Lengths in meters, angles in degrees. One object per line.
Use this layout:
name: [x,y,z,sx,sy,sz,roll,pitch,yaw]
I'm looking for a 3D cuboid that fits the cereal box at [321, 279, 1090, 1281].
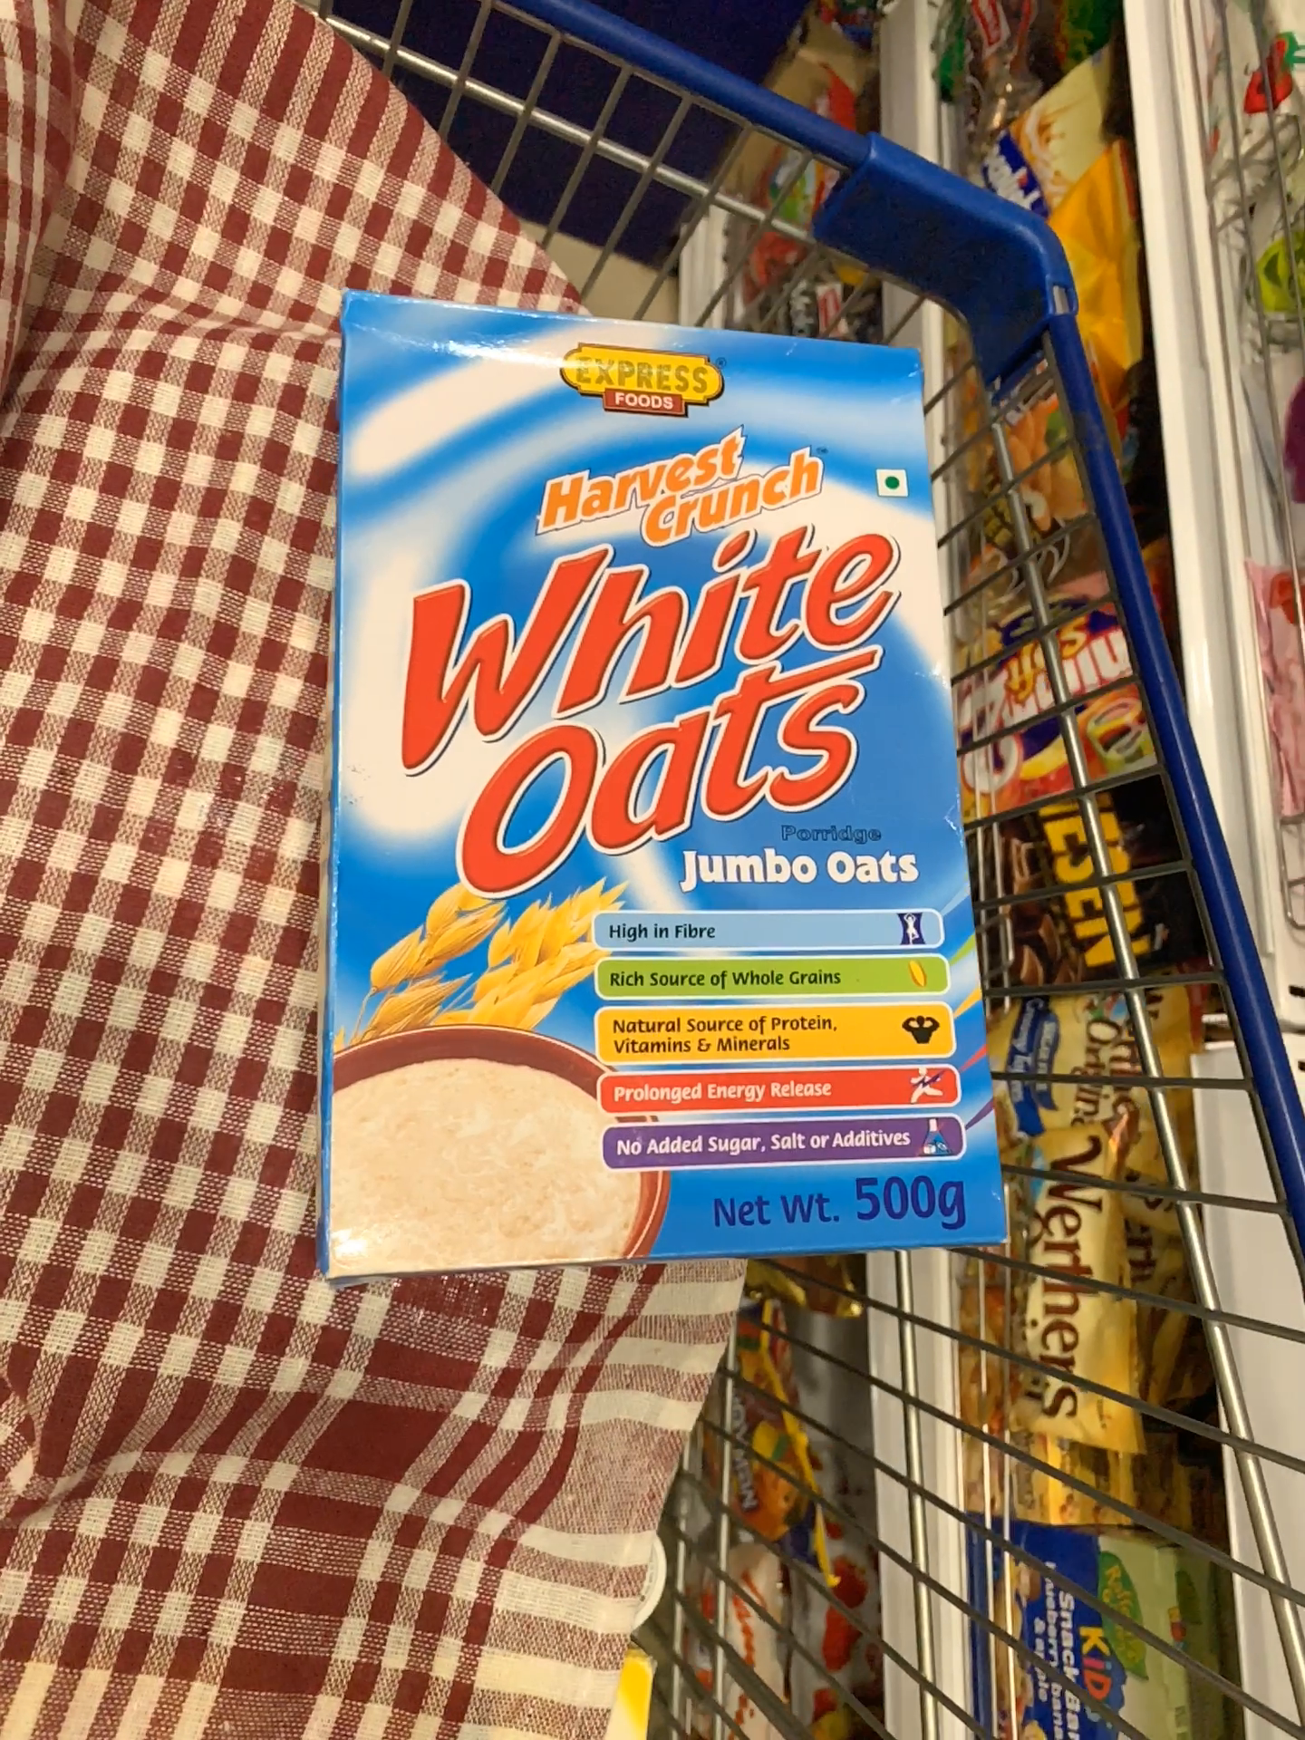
cereal box: [0.005,-0.017,0.304,0.150,0.060,0.200,1,76,-15]
